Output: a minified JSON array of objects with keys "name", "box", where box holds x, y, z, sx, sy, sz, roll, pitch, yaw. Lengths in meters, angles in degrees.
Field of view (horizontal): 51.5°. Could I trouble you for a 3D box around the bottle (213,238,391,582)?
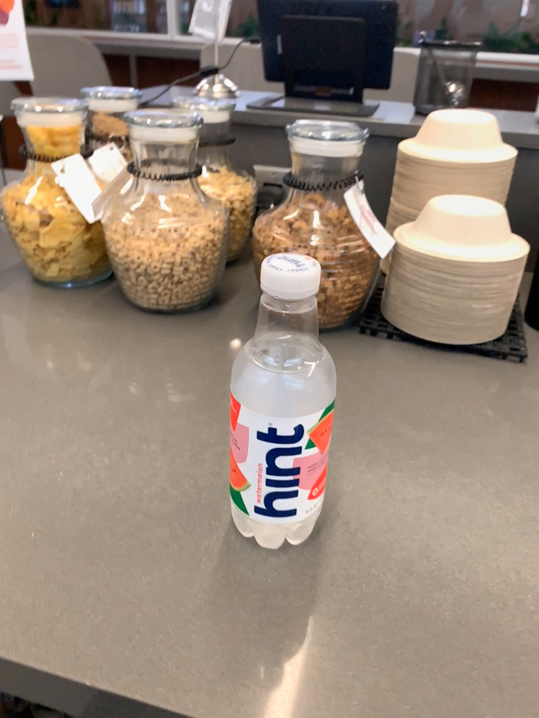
[{"name":"bottle","box":[0.012,0.035,0.353,0.070,0.199,0.070,2,30,-1]}]
